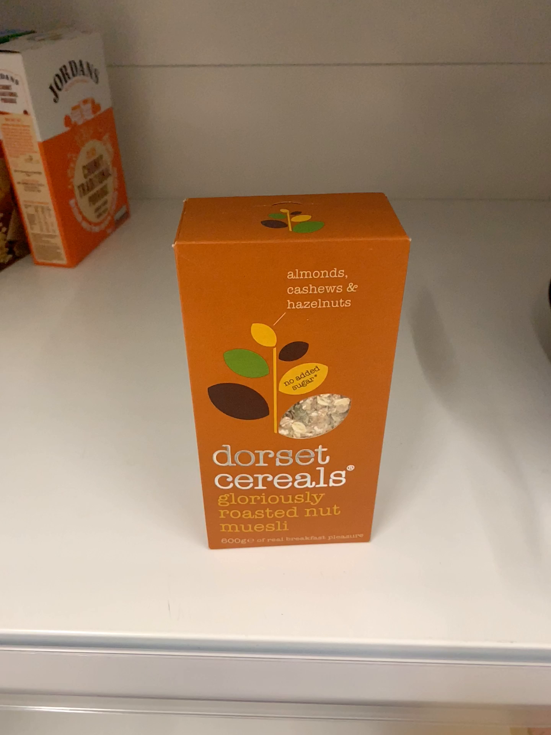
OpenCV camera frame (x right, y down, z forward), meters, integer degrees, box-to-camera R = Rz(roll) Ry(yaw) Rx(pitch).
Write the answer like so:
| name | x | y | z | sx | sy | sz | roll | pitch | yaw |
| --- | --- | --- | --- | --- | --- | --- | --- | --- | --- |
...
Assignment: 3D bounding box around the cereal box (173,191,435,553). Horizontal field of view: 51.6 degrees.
| name | x | y | z | sx | sy | sz | roll | pitch | yaw |
| --- | --- | --- | --- | --- | --- | --- | --- | --- | --- |
| cereal box | 0.013 | 0.016 | 0.352 | 0.120 | 0.228 | 0.061 | -2 | 36 | -2 |
